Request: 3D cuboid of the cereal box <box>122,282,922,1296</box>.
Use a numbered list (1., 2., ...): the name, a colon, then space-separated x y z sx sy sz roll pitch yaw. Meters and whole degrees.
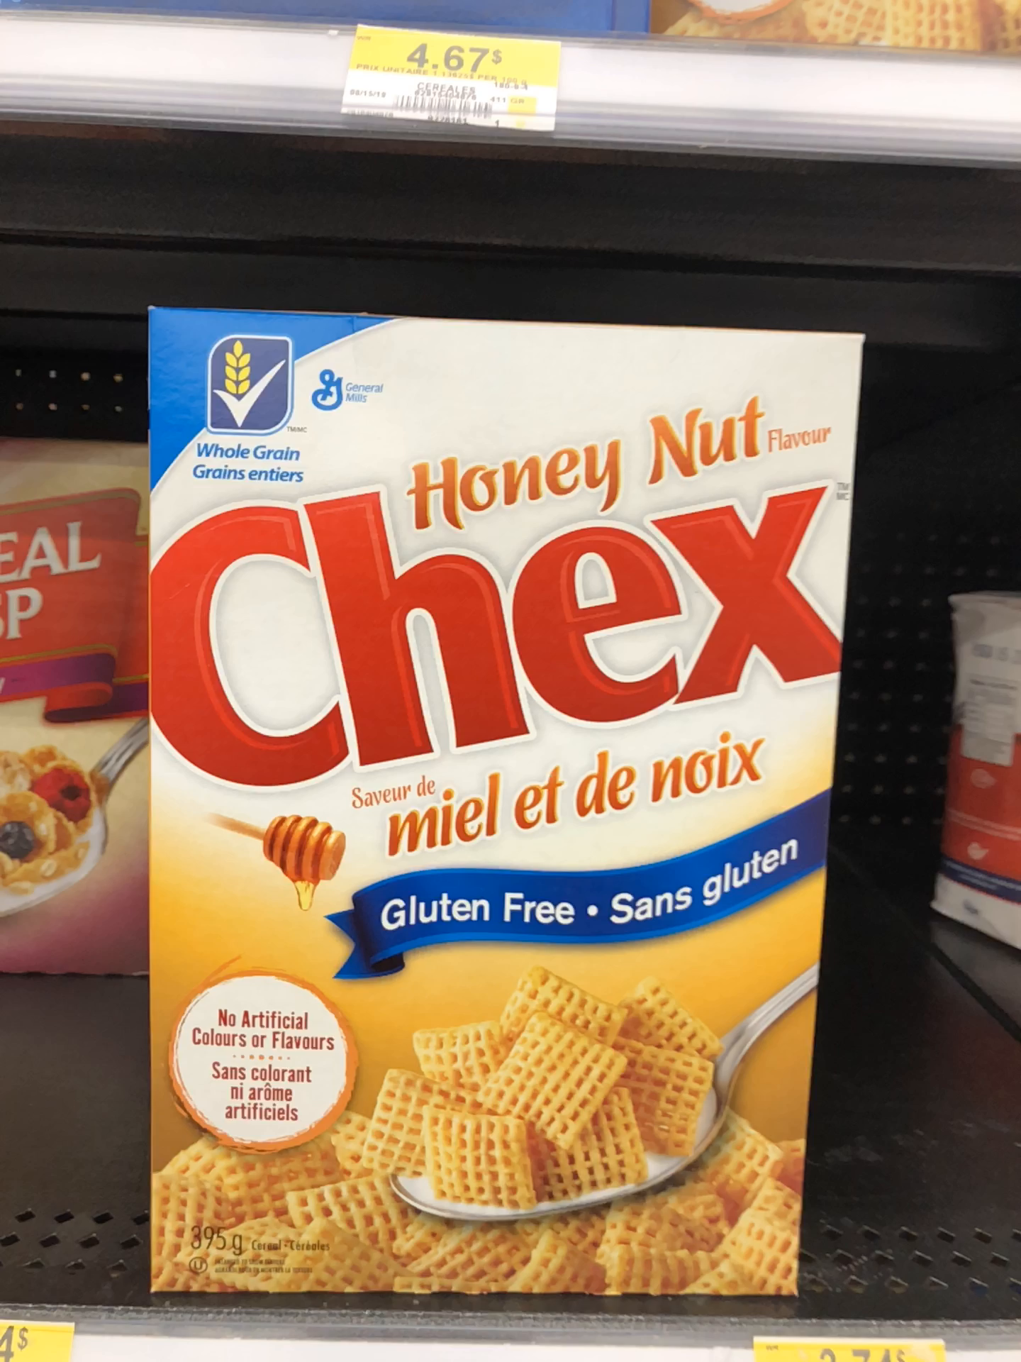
1. cereal box: -0.002 0.036 0.338 0.210 0.279 0.050 2 7 -2
